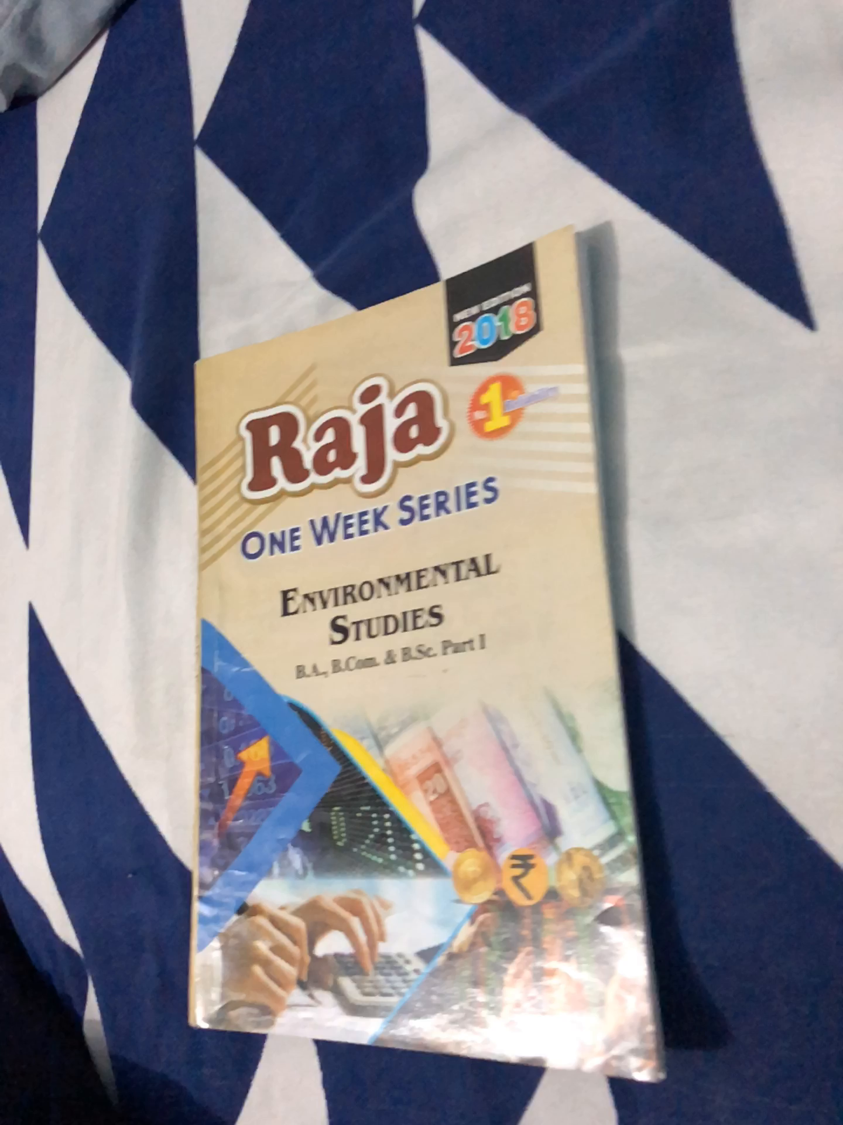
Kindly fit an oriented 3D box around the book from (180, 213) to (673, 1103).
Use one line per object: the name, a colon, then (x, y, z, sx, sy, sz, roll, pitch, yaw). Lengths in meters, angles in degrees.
book: (-0.012, 0.023, 0.254, 0.140, 0.010, 0.200, -12, 73, 34)
